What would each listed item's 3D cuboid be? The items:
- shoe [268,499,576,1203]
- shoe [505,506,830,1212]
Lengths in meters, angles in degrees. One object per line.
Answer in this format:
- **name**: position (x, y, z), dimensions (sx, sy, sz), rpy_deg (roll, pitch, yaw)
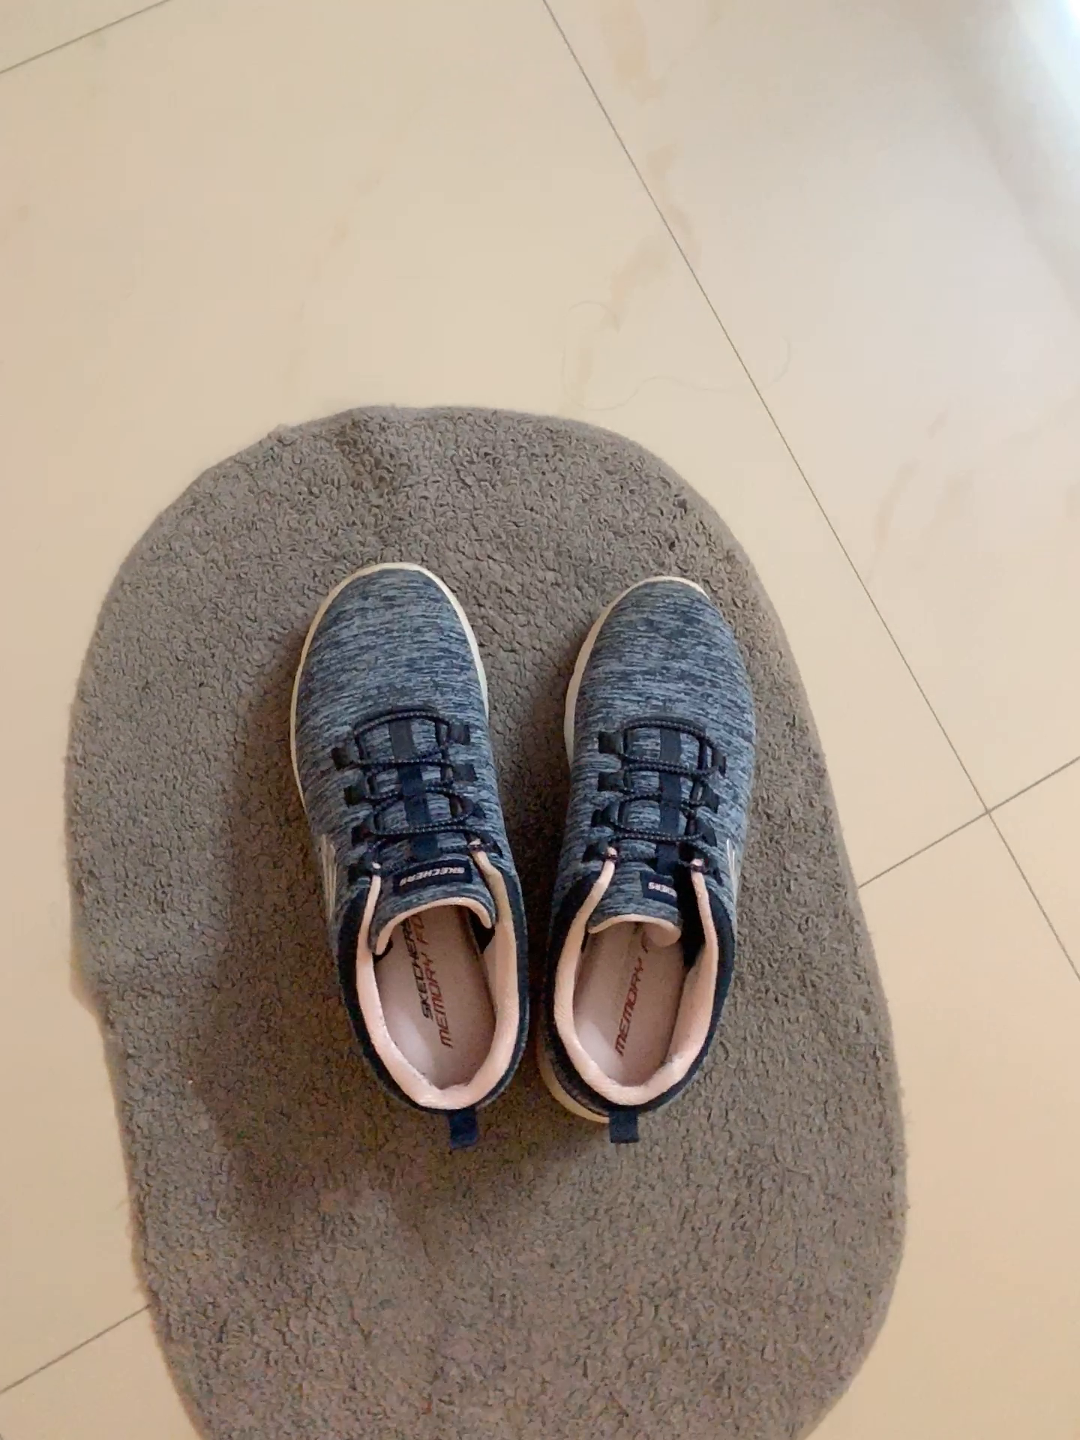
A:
- **shoe**: position (-0.058, 0.054, 0.524), dimensions (0.100, 0.100, 0.290), rpy_deg (-6, 87, -10)
- **shoe**: position (0.051, 0.056, 0.490), dimensions (0.090, 0.100, 0.270), rpy_deg (8, 86, -5)
